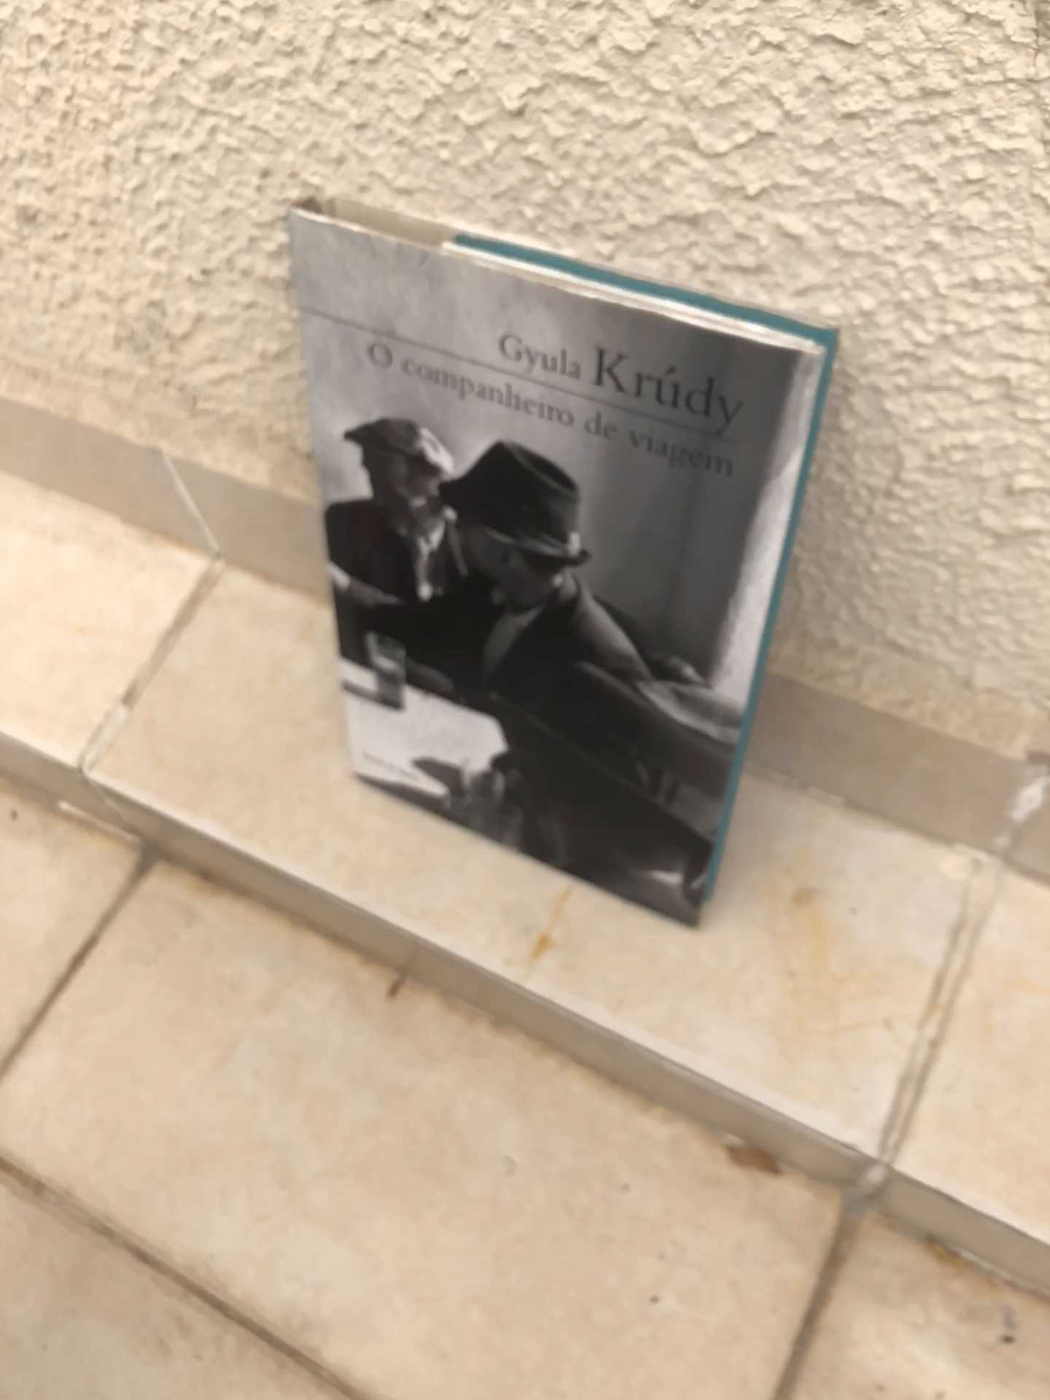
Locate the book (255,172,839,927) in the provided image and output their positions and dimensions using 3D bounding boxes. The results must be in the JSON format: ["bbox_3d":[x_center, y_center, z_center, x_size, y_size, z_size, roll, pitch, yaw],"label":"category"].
[{"bbox_3d":[-0.002,-0.028,0.337,0.137,0.205,0.019,22,48,18],"label":"book"}]
